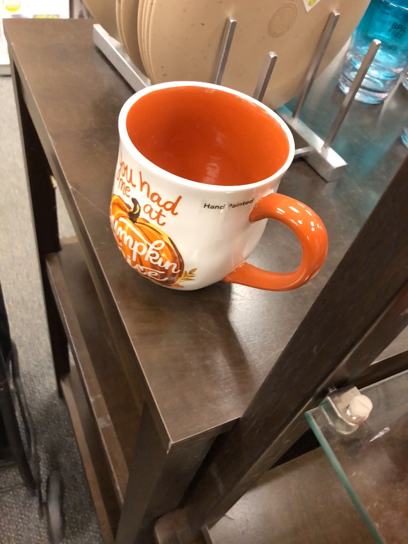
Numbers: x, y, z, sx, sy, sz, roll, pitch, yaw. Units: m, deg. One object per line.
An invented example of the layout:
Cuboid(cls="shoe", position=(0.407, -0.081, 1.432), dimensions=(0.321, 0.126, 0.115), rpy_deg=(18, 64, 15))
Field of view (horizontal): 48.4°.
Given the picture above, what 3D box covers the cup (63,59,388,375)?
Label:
Cuboid(cls="cup", position=(0.005, -0.039, 0.275), dimensions=(0.143, 0.094, 0.102), rpy_deg=(40, 53, 19))
